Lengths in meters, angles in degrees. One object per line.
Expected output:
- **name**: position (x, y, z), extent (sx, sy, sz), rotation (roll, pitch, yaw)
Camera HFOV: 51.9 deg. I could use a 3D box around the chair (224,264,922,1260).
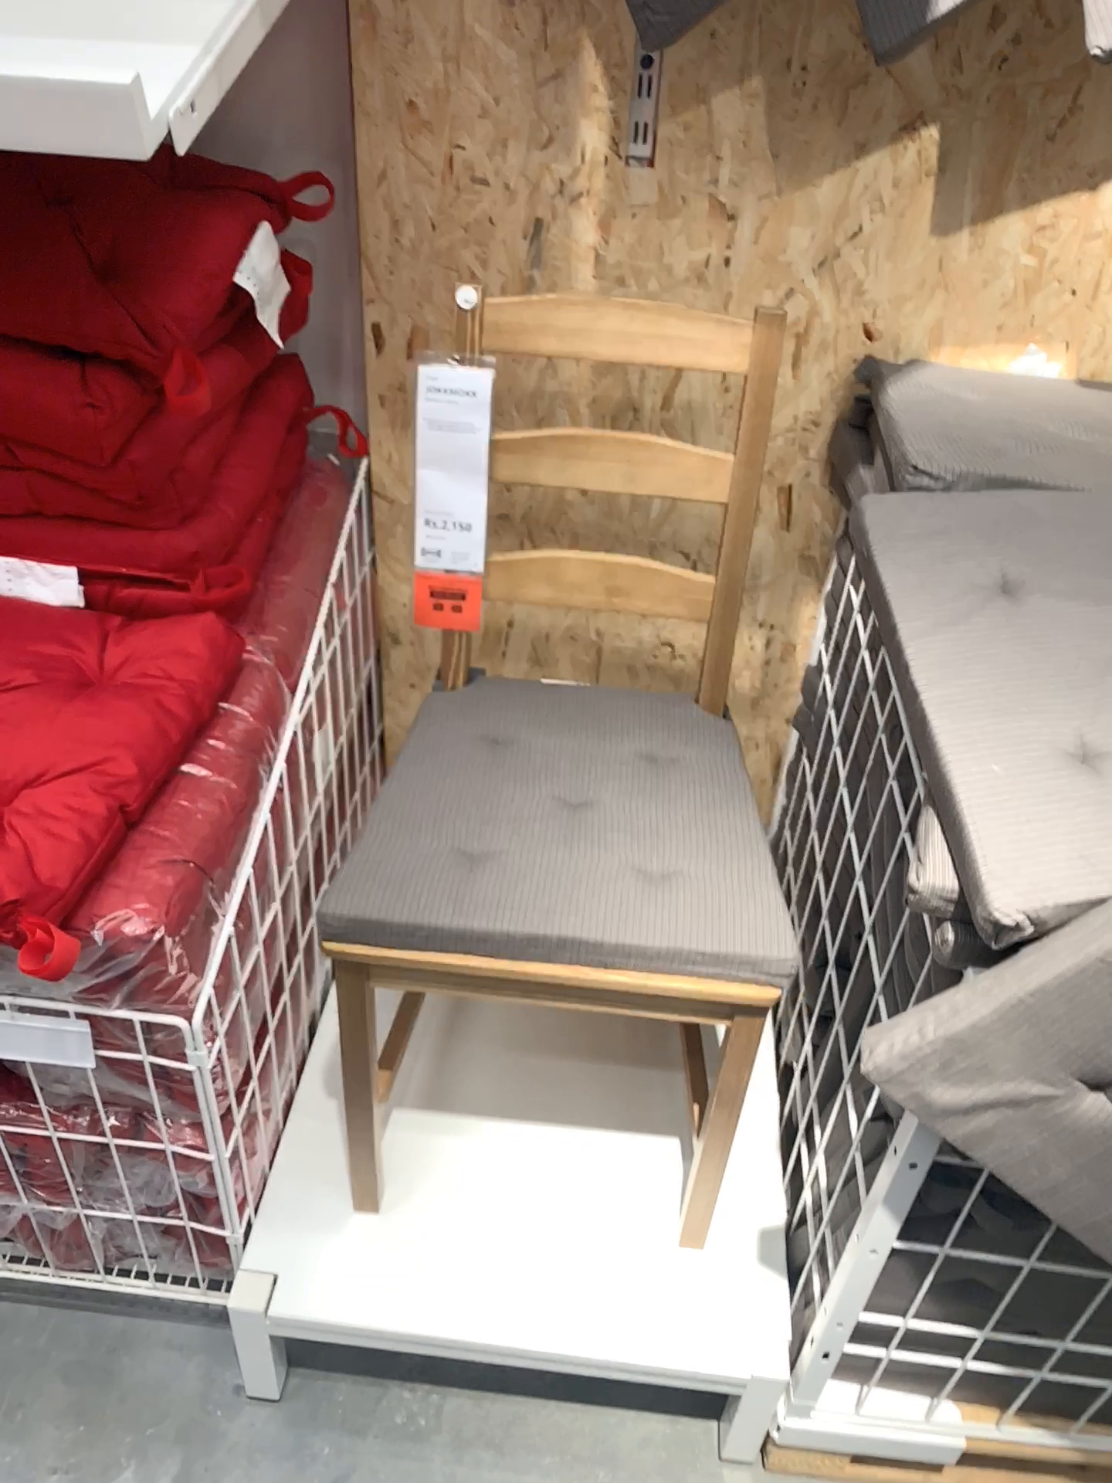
- **chair**: position (0.007, 0.047, 1.180), extent (0.440, 0.866, 0.502), rotation (5, 38, 2)
